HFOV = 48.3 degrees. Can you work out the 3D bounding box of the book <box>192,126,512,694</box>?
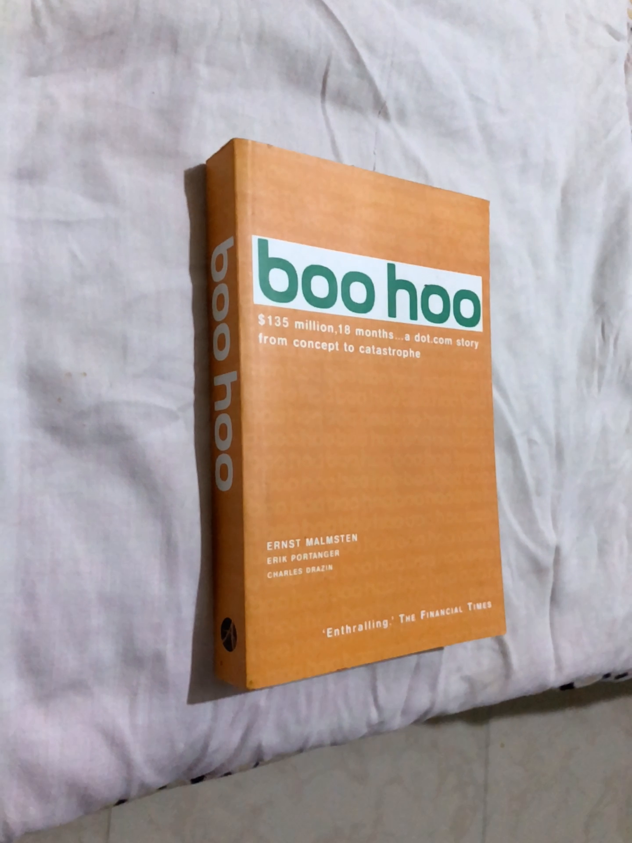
[{"bbox_3d":[0.018,-0.004,0.298,0.131,0.040,0.200,1,87,-30],"label":"book"}]
